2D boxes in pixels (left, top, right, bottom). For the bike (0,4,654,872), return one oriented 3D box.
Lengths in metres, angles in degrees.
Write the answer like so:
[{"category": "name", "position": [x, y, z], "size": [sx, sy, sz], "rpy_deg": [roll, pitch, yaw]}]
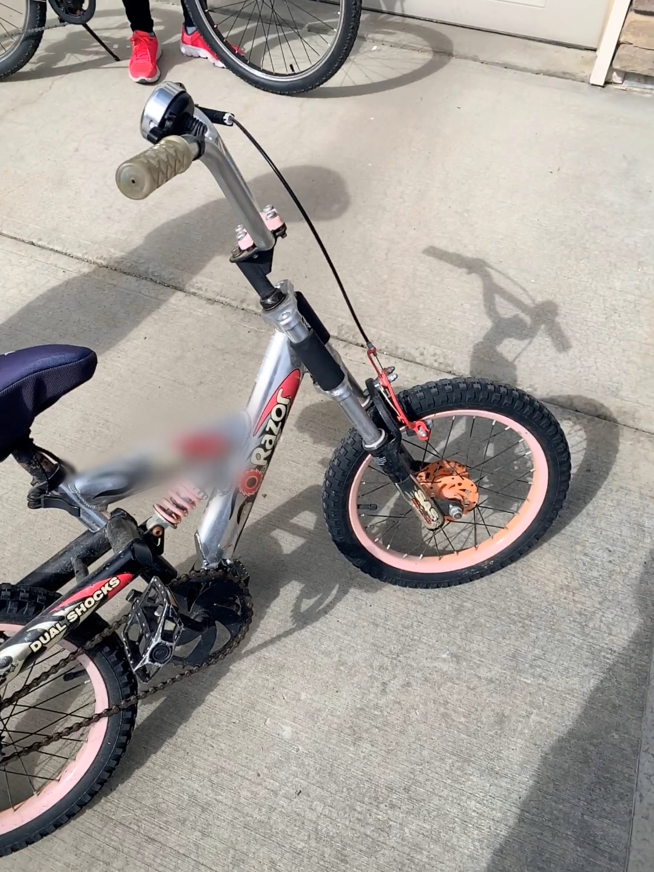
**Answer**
[{"category": "bike", "position": [-0.177, -0.019, 0.857], "size": [1.124, 0.691, 0.359], "rpy_deg": [-26, 55, -22]}]
